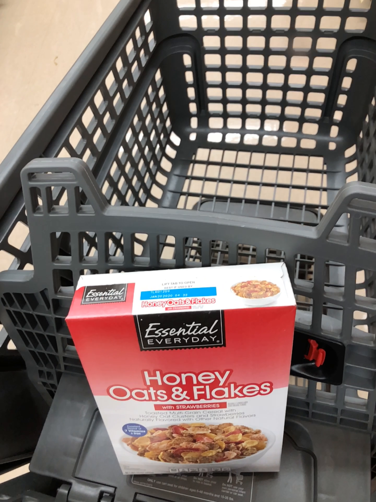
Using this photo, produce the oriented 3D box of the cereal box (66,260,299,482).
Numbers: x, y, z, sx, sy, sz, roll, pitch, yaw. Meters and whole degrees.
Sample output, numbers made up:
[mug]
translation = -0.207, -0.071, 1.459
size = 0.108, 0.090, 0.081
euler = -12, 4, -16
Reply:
[cereal box]
translation = 0.006, 0.136, 0.420
size = 0.180, 0.260, 0.060
euler = -4, 36, 3
